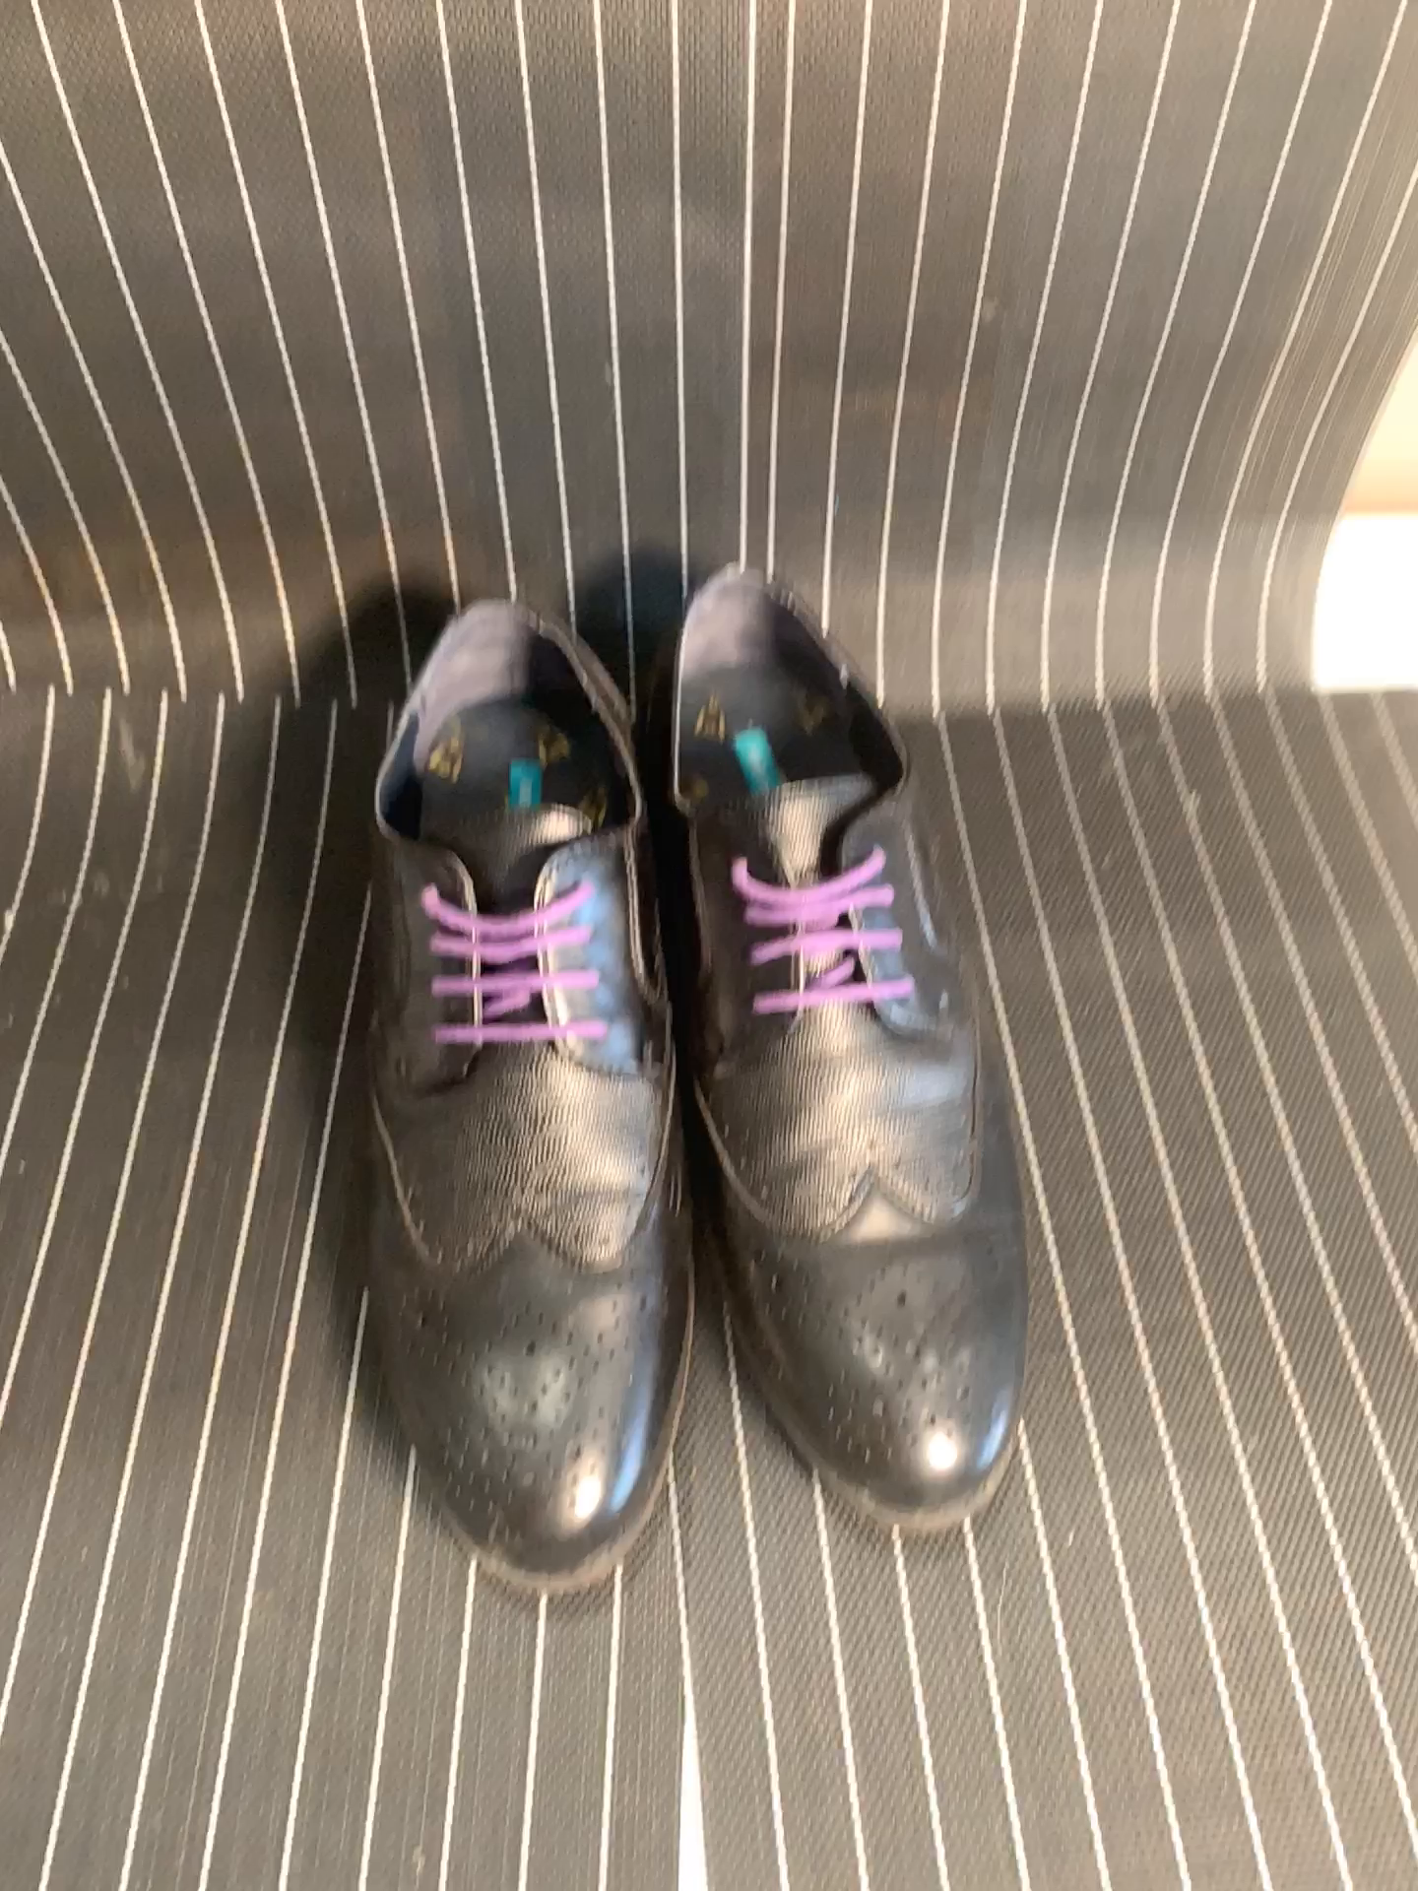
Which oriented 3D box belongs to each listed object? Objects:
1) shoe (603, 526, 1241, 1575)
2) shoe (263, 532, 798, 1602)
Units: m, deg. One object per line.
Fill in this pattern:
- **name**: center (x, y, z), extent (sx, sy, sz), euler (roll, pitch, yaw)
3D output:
- **shoe**: center (0.043, 0.020, 0.425), extent (0.110, 0.090, 0.280), euler (-7, 62, -4)
- **shoe**: center (-0.052, 0.026, 0.442), extent (0.120, 0.100, 0.300), euler (-4, 62, -2)
